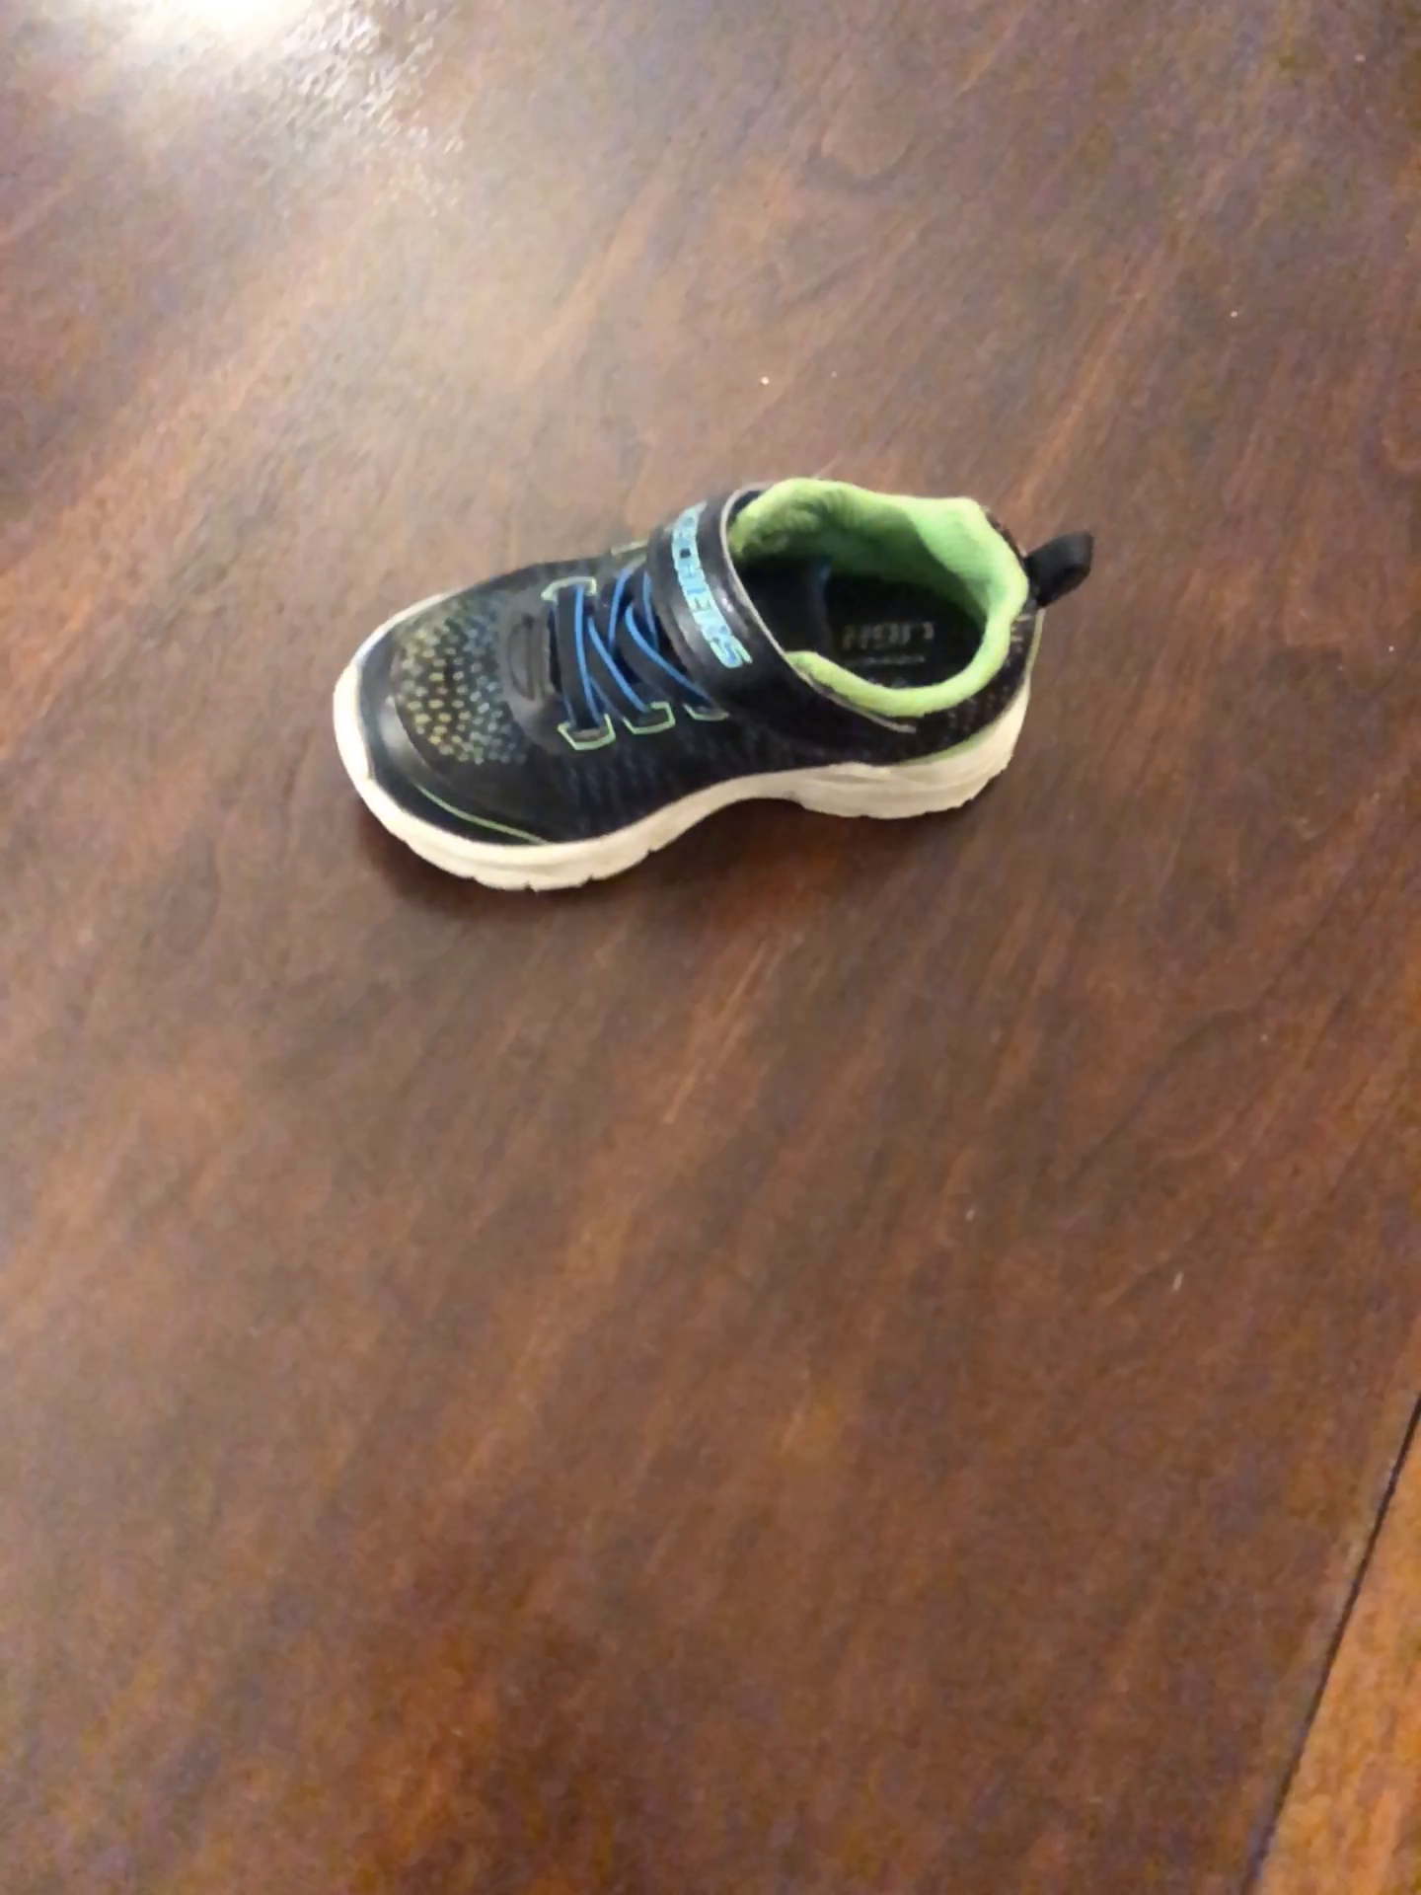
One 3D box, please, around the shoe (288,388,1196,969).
[{"bbox_3d":[0.002,-0.058,0.351,0.170,0.080,0.080,-9,71,-11],"label":"shoe"}]
